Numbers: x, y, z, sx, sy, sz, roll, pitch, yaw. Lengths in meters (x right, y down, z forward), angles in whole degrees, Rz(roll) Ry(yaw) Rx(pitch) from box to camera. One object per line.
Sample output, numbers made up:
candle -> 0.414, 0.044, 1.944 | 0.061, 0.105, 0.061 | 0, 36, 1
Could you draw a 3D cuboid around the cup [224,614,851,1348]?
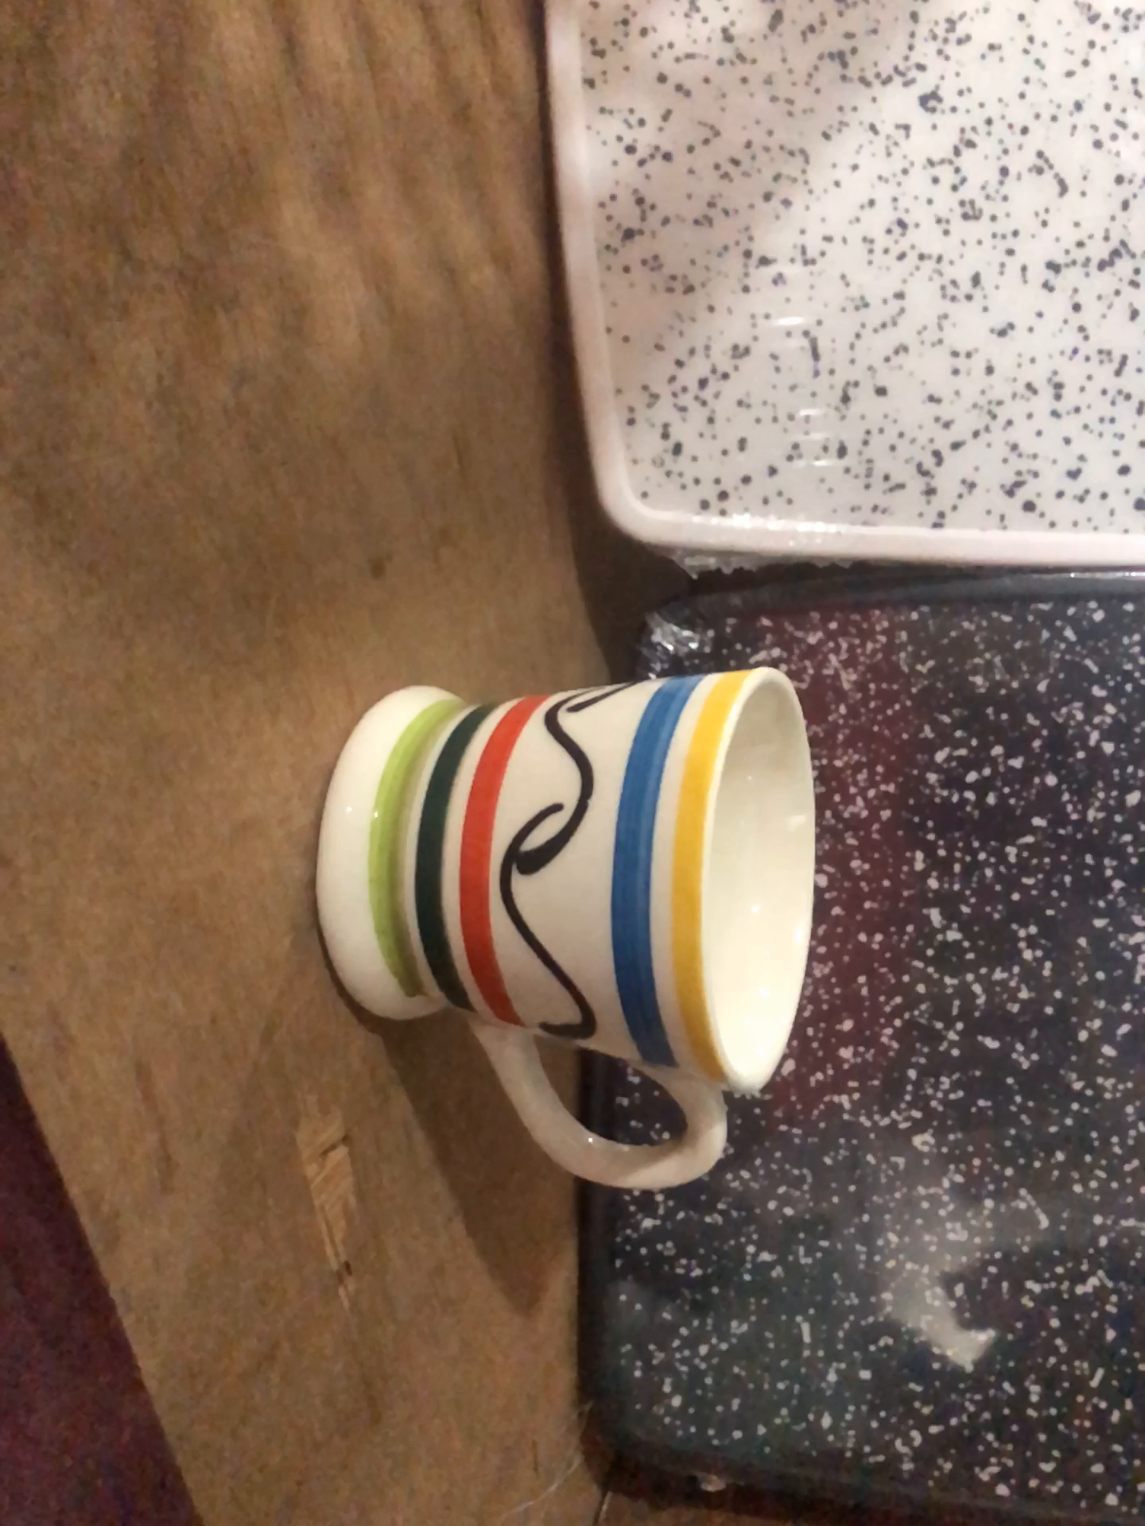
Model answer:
cup -> 0.000, 0.030, 0.221 | 0.060, 0.079, 0.100 | -38, 126, -60
